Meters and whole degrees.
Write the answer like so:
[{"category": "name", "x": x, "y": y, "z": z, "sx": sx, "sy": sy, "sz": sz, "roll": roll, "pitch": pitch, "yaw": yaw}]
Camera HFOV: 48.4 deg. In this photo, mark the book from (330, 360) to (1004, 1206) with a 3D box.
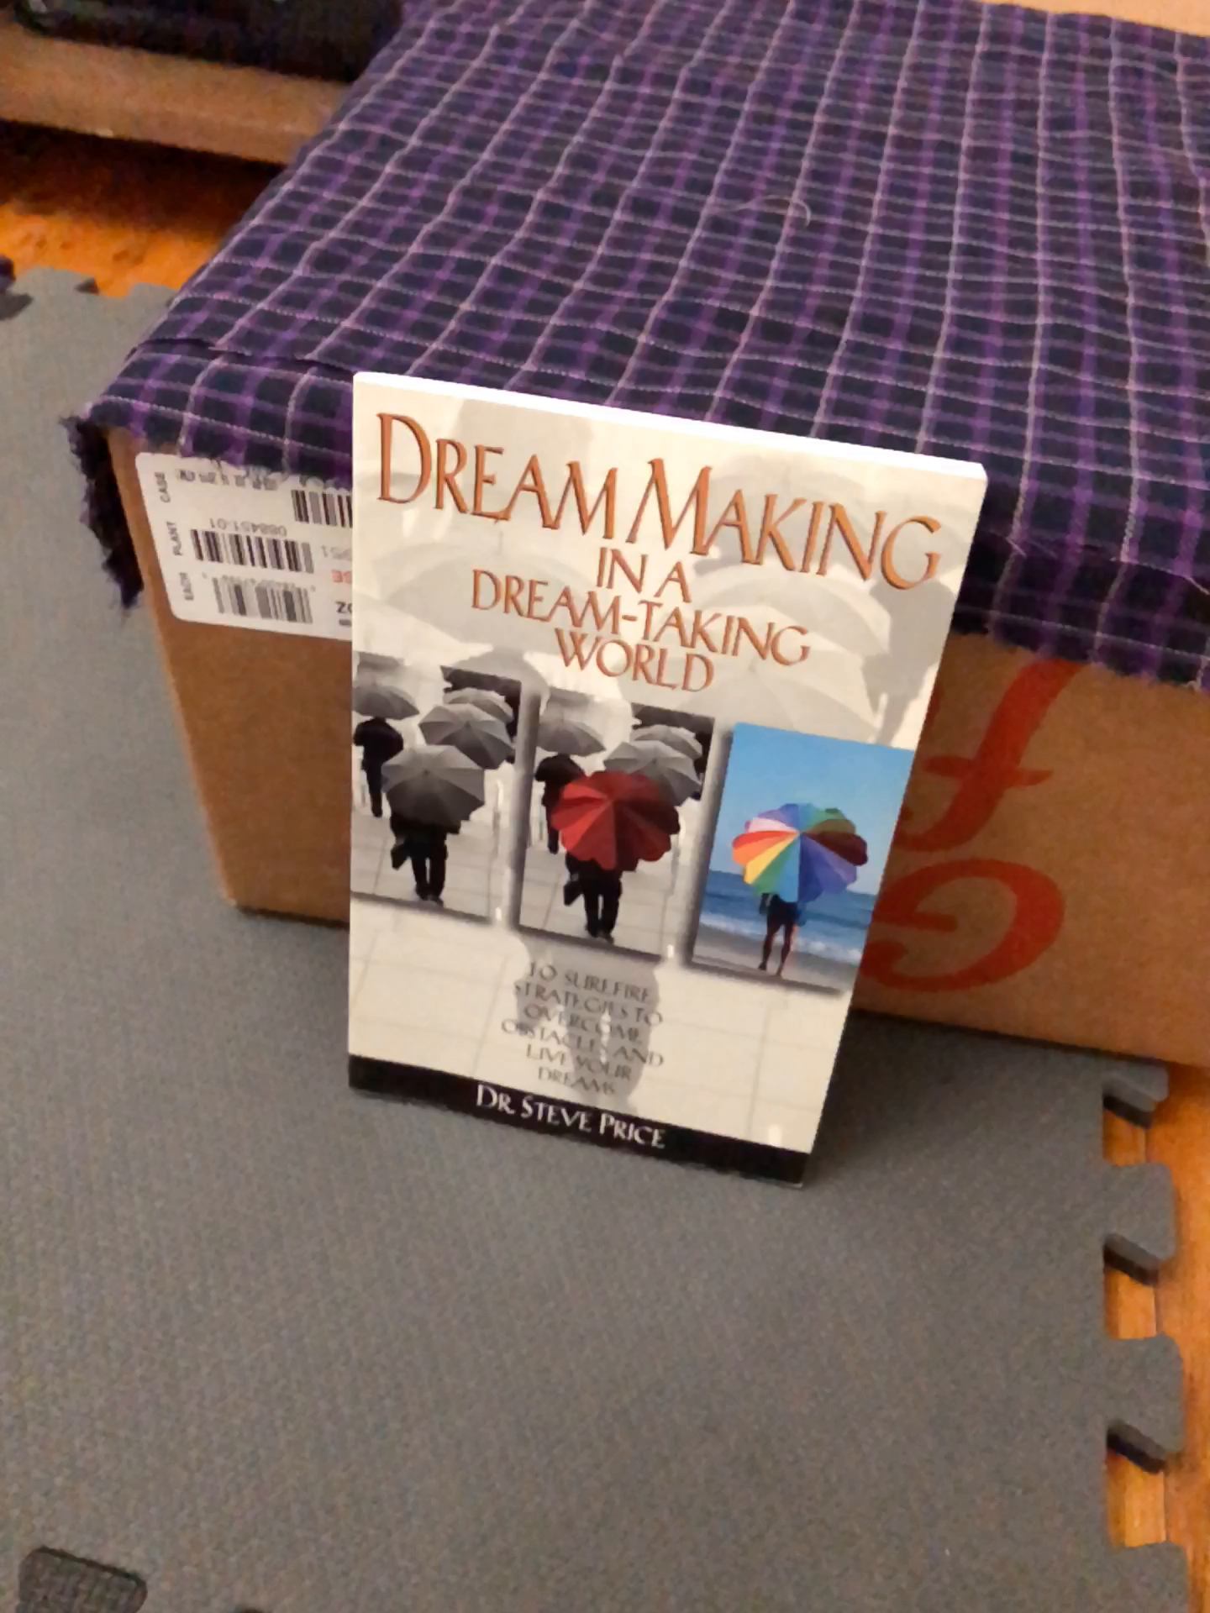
[{"category": "book", "x": 0.003, "y": 0.006, "z": 0.359, "sx": 0.150, "sy": 0.219, "sz": 0.020, "roll": 11, "pitch": 32, "yaw": 8}]
